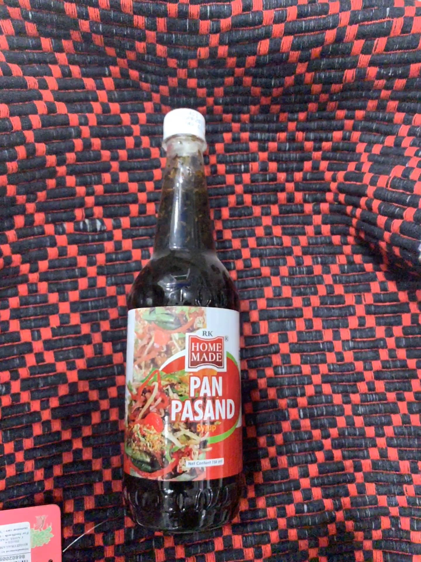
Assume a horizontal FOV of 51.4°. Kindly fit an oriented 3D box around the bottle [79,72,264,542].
[{"bbox_3d":[-0.023,0.005,0.295,0.090,0.080,0.280,1,72,-4],"label":"bottle"}]
